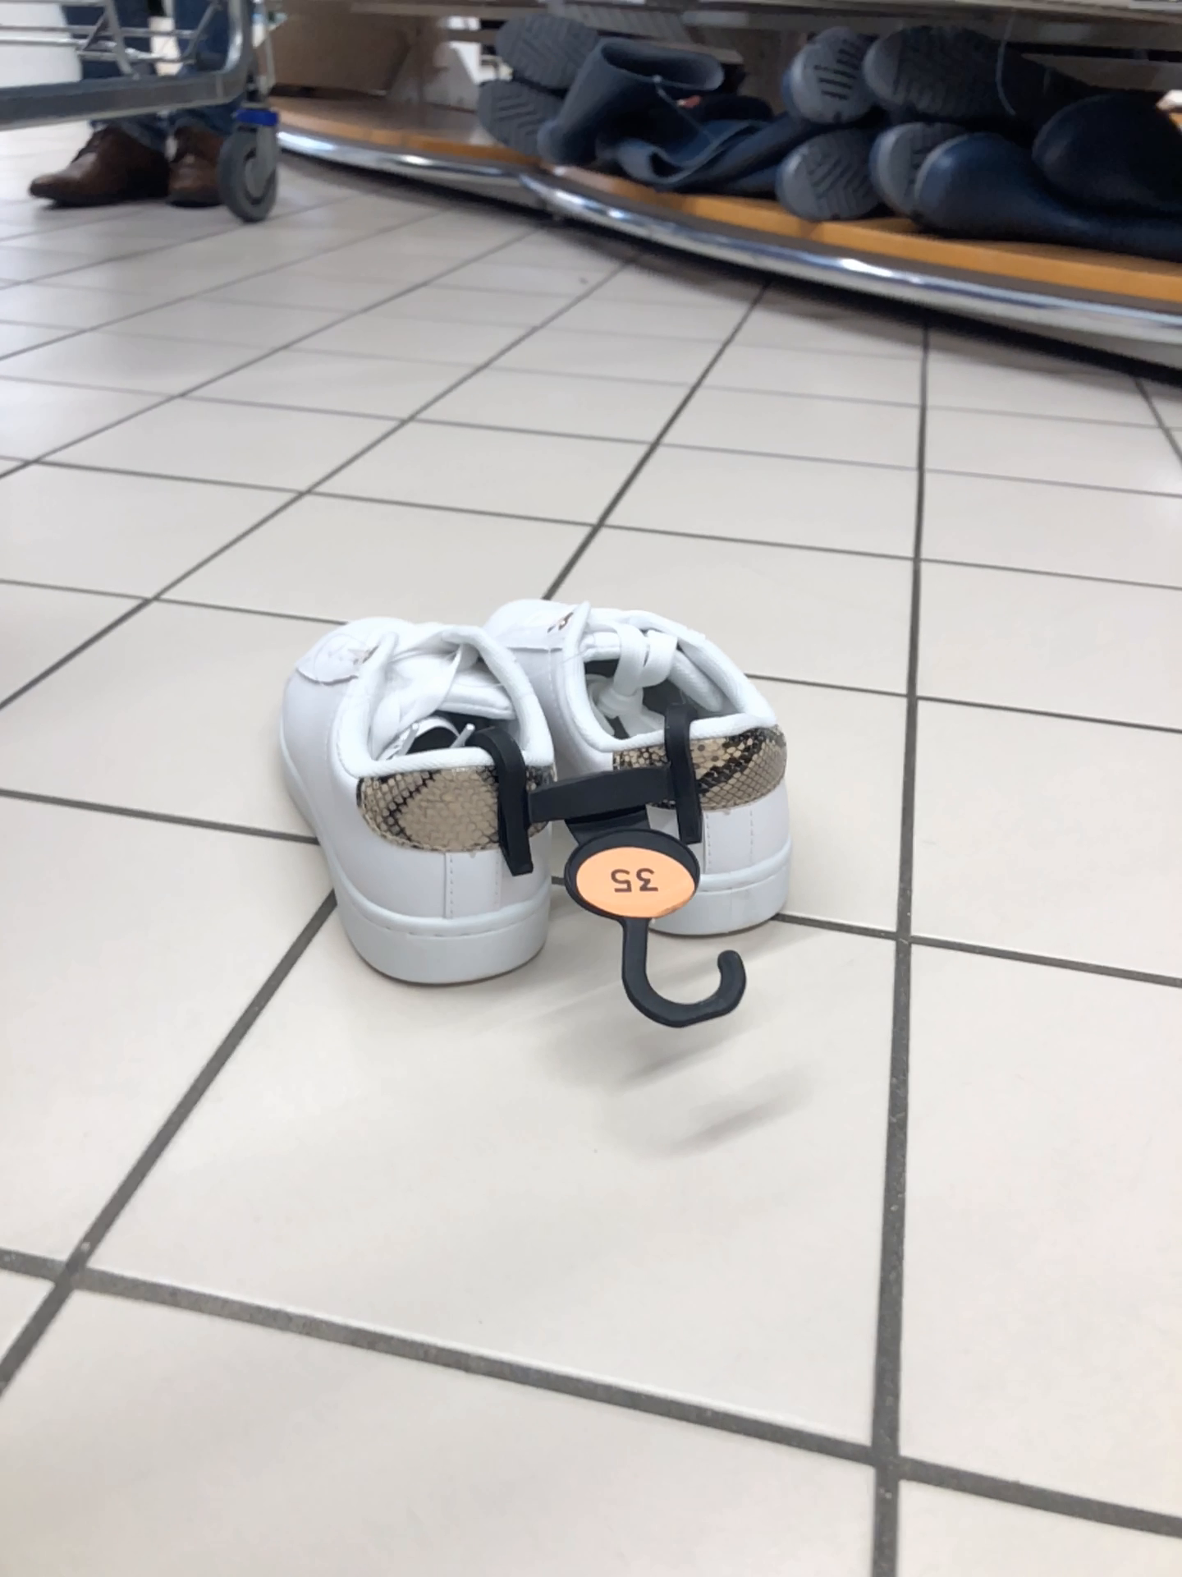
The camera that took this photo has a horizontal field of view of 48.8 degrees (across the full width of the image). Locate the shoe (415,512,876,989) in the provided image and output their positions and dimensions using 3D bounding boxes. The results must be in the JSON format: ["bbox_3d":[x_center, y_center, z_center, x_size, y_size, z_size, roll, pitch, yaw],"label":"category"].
[{"bbox_3d":[0.005,-0.032,0.525,0.090,0.080,0.241,-9,32,-20],"label":"shoe"}]

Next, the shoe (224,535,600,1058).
[{"bbox_3d":[-0.079,-0.016,0.494,0.090,0.080,0.241,-7,31,-17],"label":"shoe"}]
